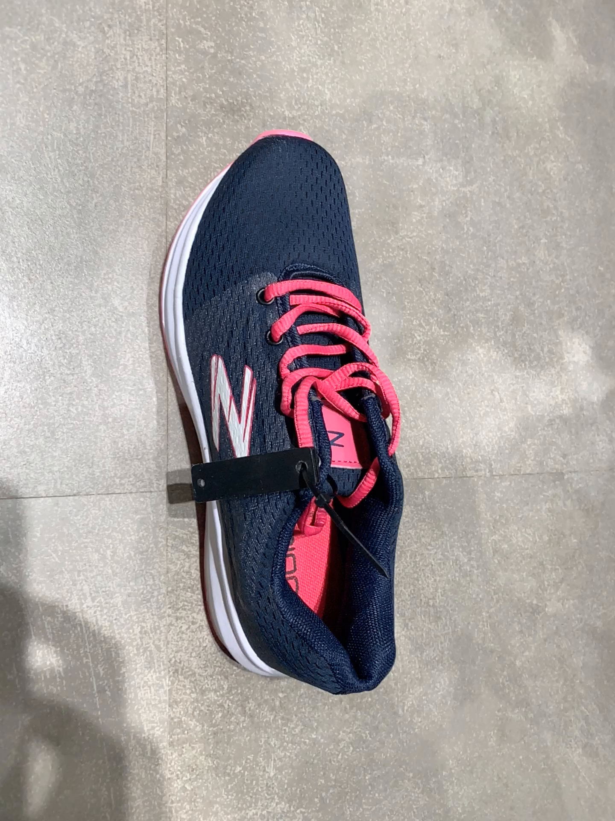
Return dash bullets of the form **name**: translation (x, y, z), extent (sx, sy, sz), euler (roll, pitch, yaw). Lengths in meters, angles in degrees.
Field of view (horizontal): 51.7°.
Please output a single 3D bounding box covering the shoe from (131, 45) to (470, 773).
- **shoe**: translation (-0.008, -0.002, 0.278), extent (0.095, 0.090, 0.248), euler (-5, 89, -29)
